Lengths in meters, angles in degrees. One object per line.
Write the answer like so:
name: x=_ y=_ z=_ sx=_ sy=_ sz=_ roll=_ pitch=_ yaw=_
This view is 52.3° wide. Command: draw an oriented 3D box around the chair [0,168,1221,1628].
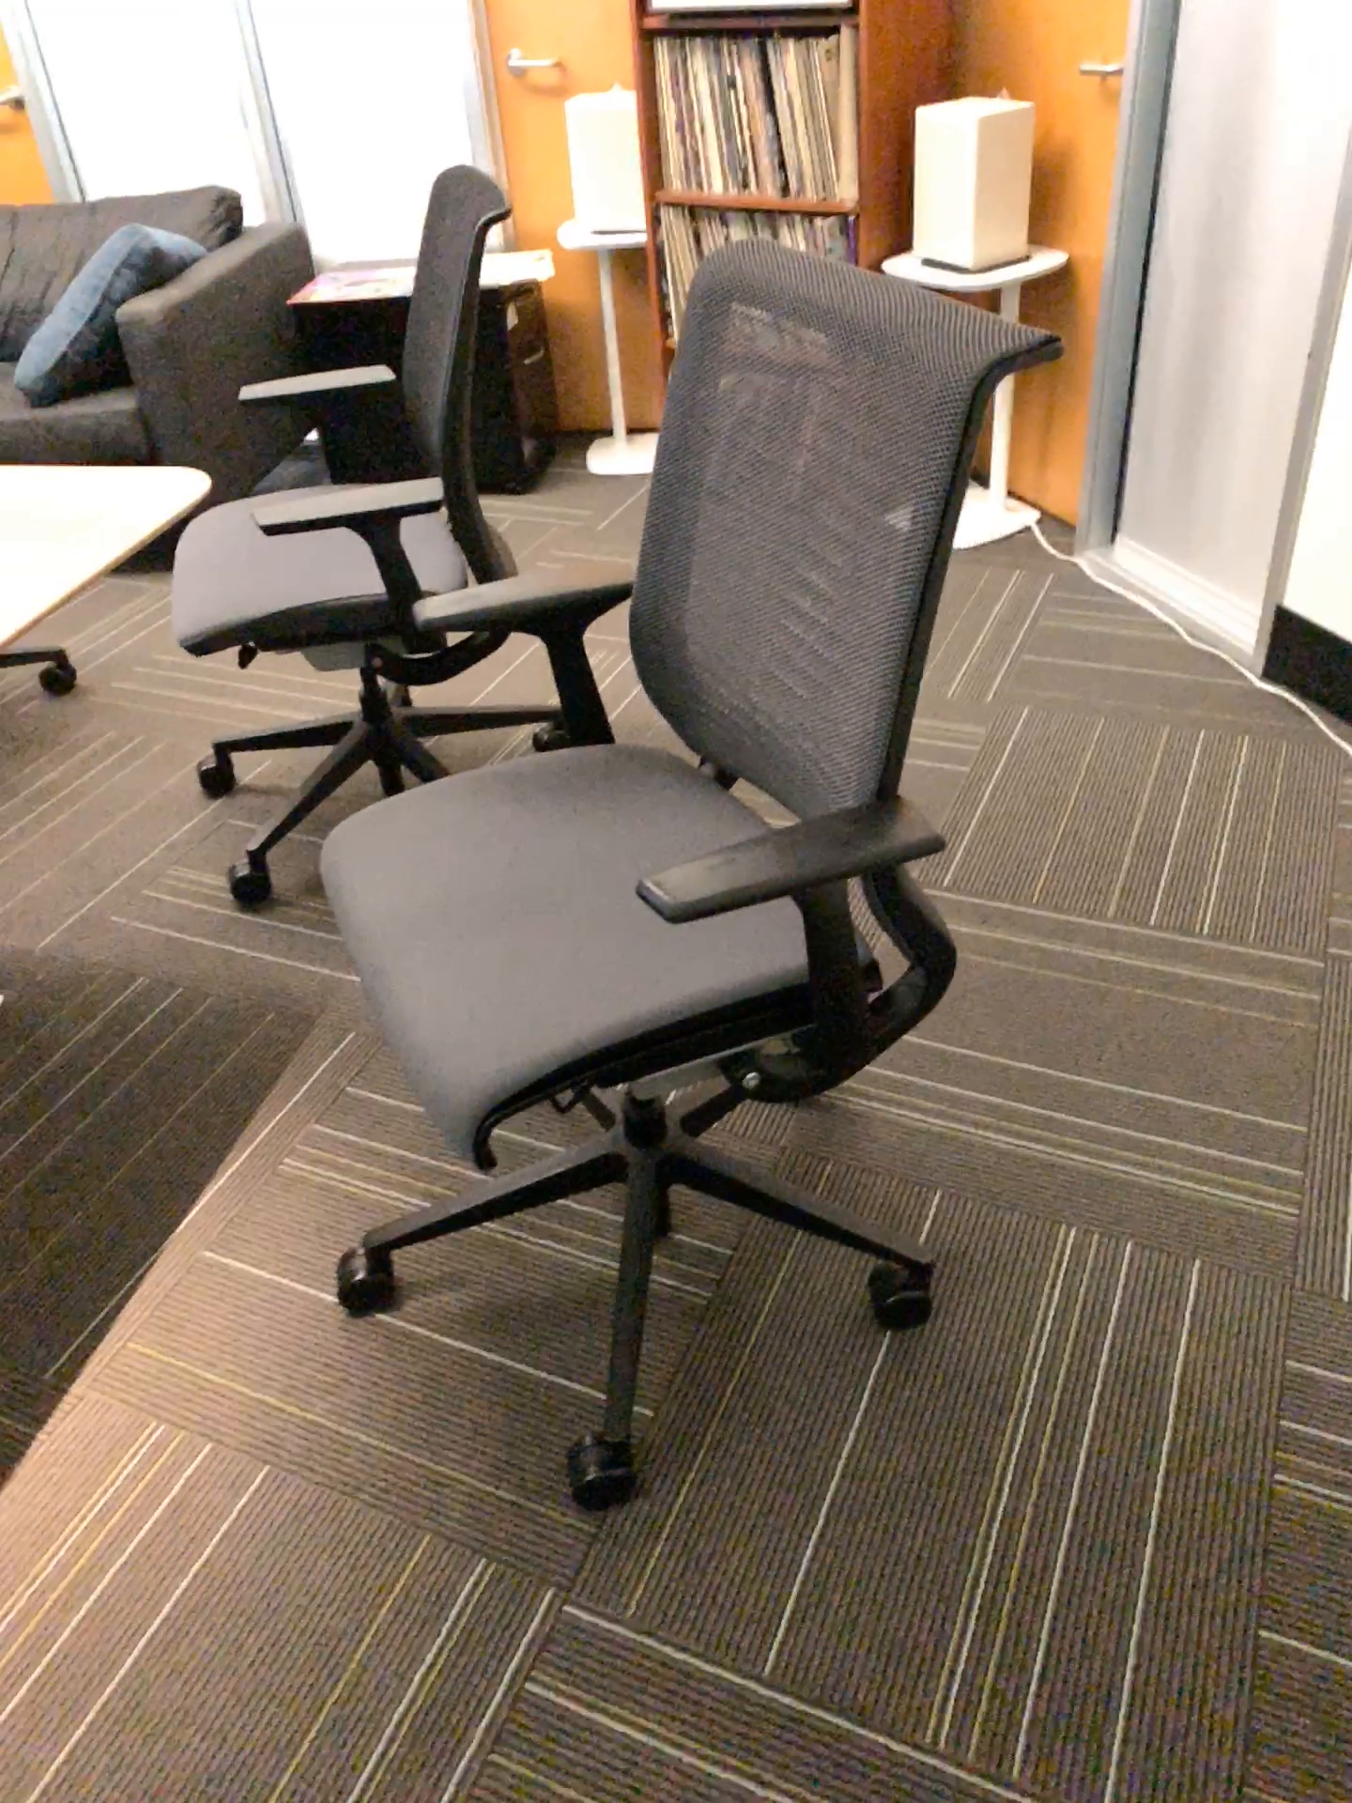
chair: x=-0.107 y=-0.053 z=1.471 sx=0.800 sy=1.113 sz=0.795 roll=-21 pitch=40 yaw=-20
